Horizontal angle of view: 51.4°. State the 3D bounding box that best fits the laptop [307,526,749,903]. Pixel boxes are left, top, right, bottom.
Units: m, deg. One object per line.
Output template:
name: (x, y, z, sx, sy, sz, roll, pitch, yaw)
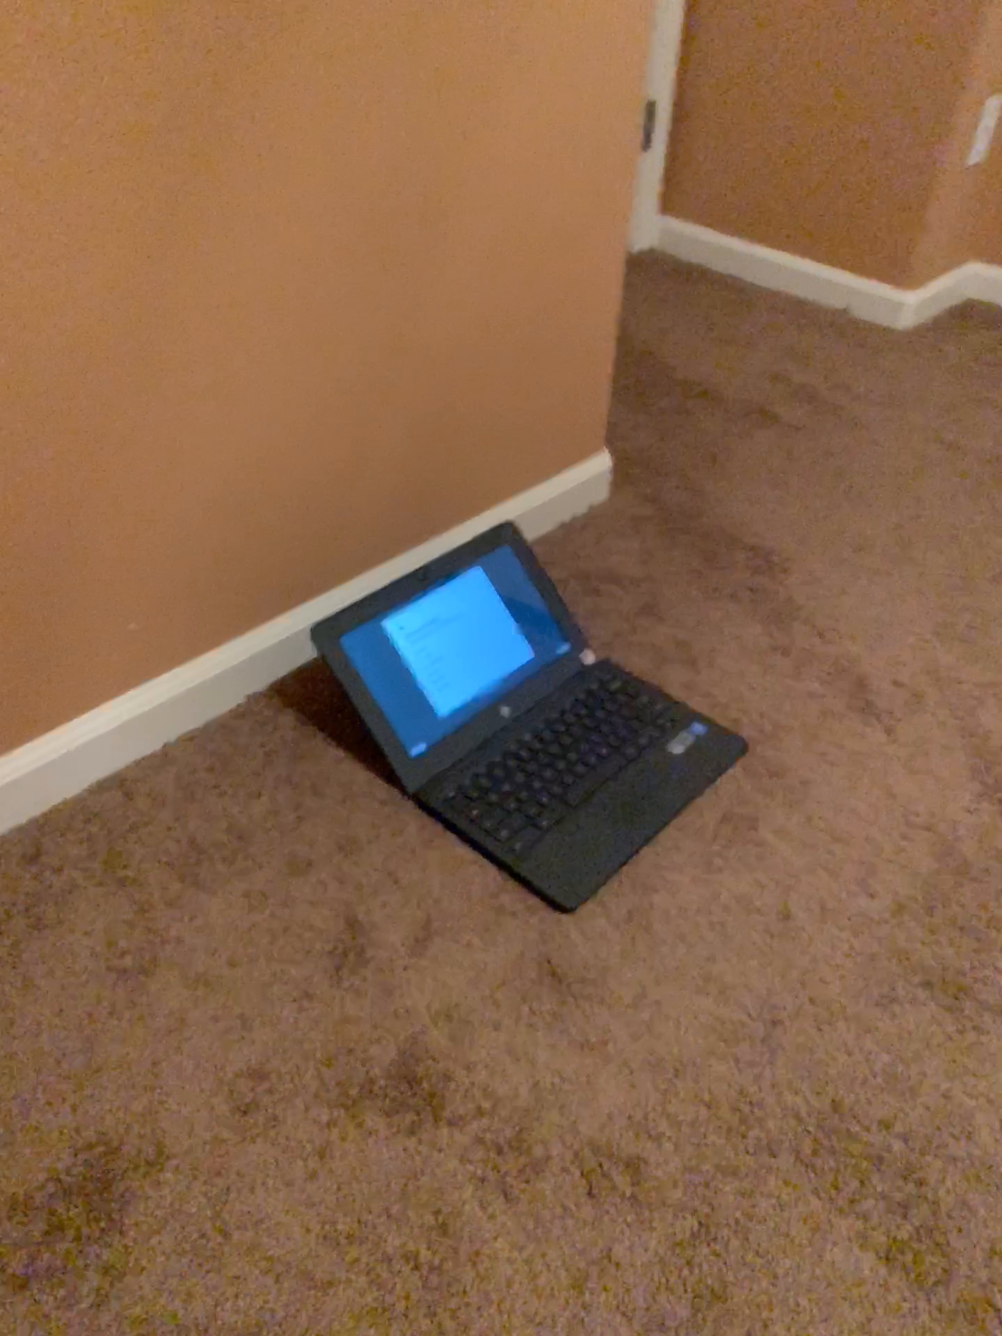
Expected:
laptop: (0.024, 0.024, 1.067, 0.332, 0.124, 0.289, 31, 46, 31)
